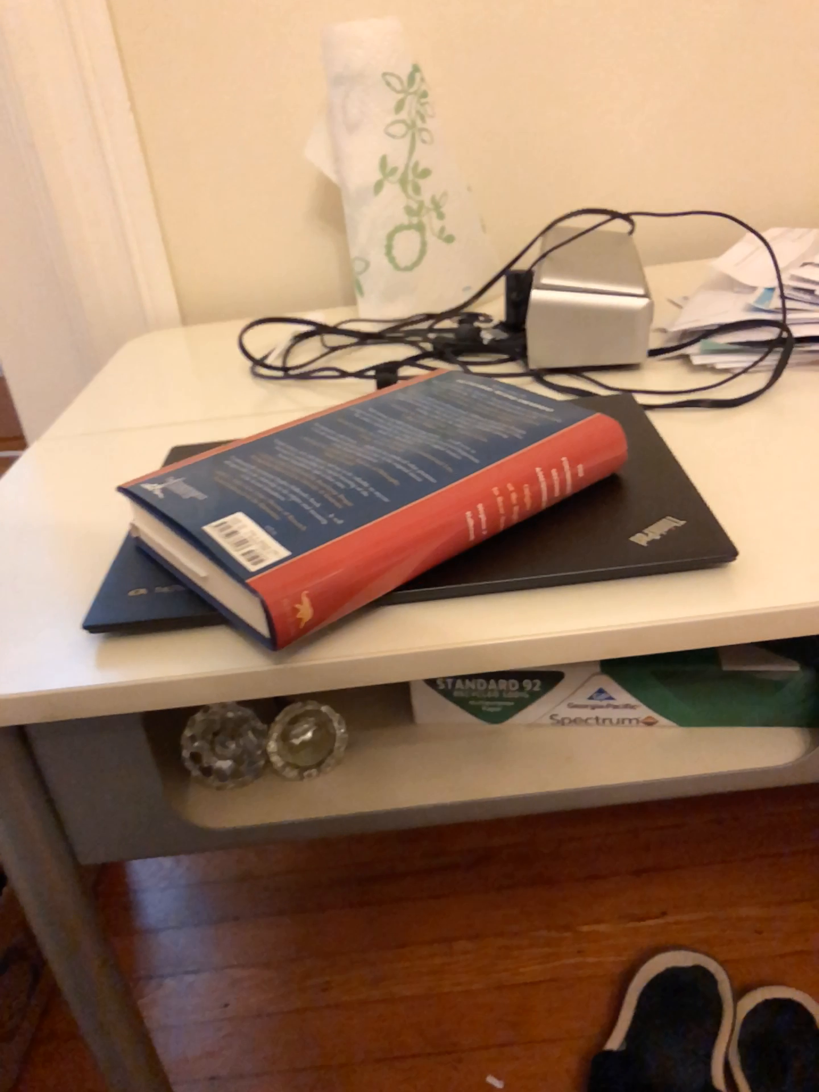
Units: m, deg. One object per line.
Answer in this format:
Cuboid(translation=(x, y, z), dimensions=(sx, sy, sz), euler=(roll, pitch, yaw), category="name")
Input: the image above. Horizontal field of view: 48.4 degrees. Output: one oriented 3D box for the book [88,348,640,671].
Cuboid(translation=(-0.023, -0.039, 0.490), dimensions=(0.241, 0.040, 0.170), euler=(-28, 33, -29), category="book")
